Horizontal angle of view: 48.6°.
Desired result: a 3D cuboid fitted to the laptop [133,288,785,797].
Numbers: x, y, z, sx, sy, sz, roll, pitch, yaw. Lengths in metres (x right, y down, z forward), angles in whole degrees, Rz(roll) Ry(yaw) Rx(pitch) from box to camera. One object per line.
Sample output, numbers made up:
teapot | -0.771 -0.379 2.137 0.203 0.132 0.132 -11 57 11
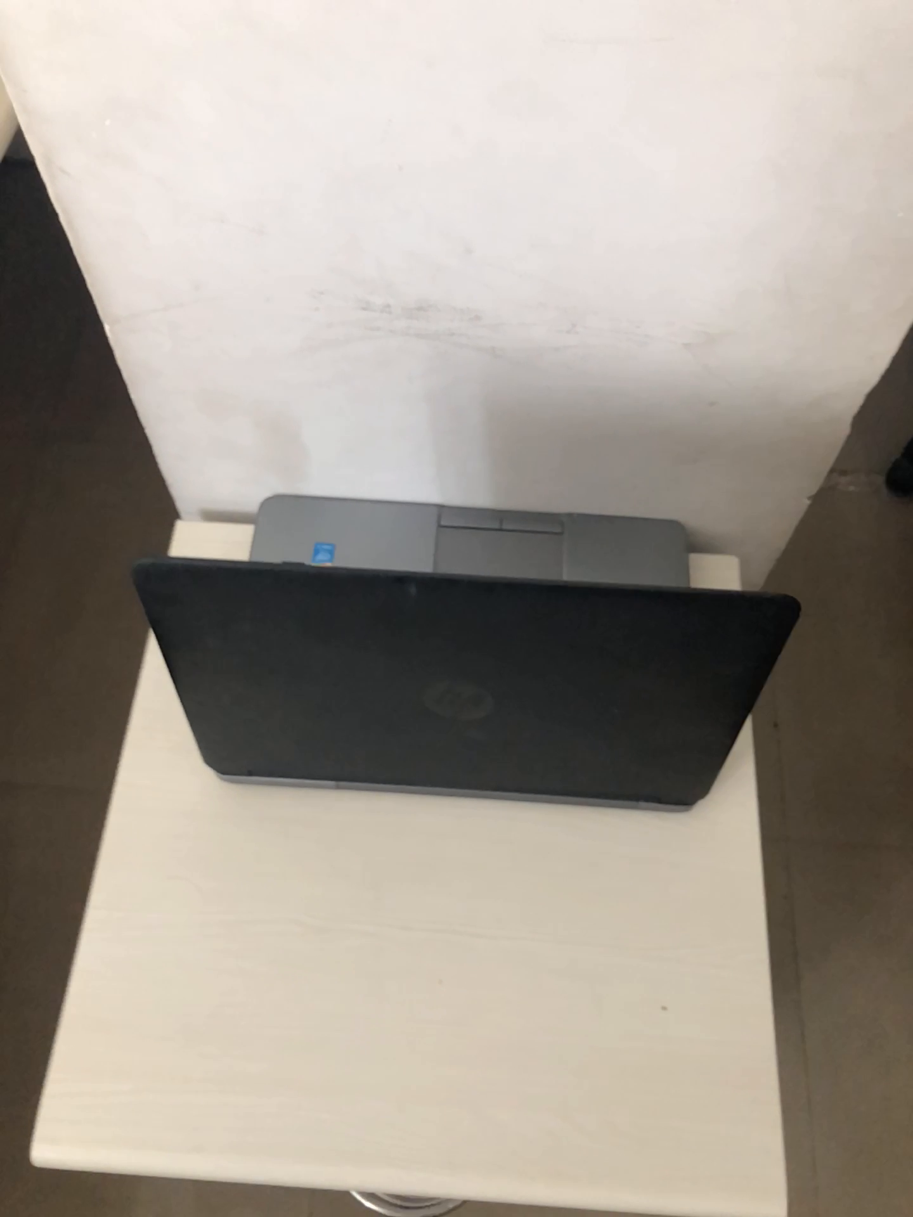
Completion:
laptop | 0.007 -0.027 0.632 0.317 0.226 0.205 4 64 1
